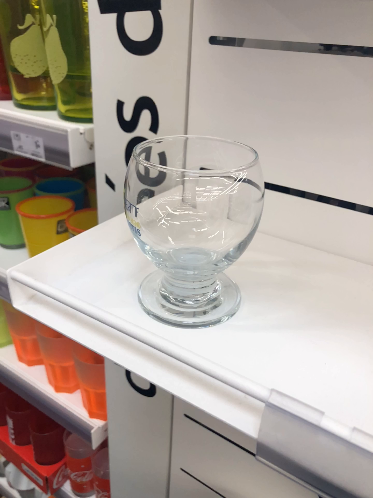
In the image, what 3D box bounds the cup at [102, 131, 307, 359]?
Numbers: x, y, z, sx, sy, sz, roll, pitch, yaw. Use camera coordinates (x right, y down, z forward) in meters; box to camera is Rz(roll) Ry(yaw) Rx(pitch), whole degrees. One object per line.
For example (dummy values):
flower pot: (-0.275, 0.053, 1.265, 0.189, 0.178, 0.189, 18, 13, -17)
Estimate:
cup: (0.004, -0.009, 0.233, 0.079, 0.093, 0.073, 3, 27, -1)
